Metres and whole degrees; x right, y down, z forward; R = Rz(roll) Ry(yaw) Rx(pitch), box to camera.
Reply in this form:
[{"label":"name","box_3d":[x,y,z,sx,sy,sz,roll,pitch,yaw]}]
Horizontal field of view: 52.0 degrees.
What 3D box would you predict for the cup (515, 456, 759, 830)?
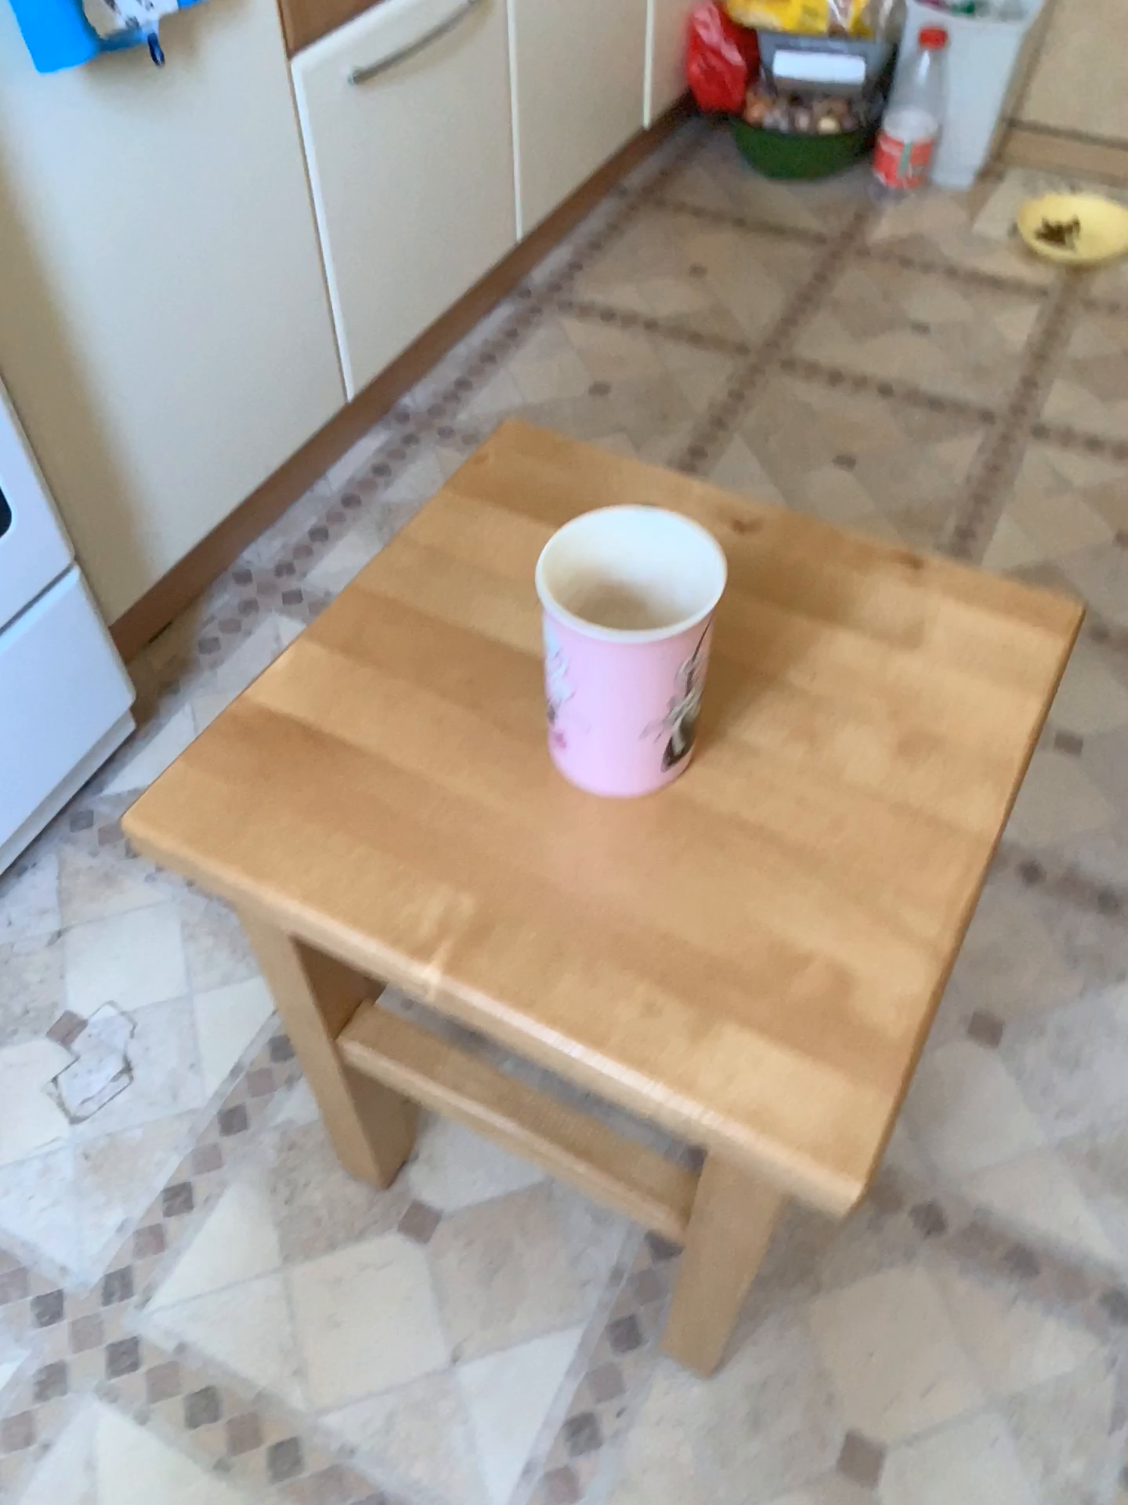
[{"label":"cup","box_3d":[0.032,-0.046,0.489,0.080,0.099,0.111,8,51,7]}]
